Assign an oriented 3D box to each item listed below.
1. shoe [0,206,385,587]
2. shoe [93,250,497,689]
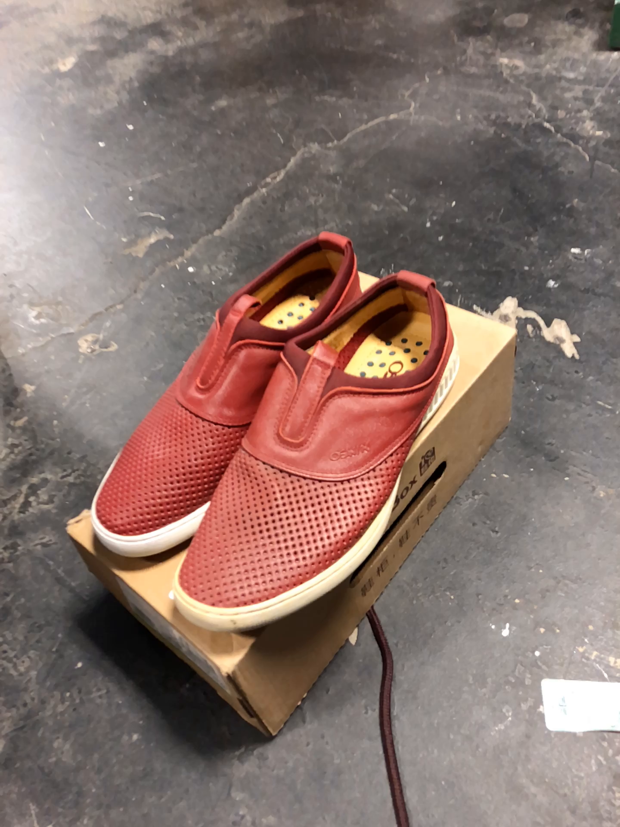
[{"bbox_3d":[-0.063,-0.025,0.462,0.100,0.089,0.251,26,59,30],"label":"shoe"},{"bbox_3d":[0.008,0.019,0.417,0.100,0.089,0.251,26,59,30],"label":"shoe"}]
